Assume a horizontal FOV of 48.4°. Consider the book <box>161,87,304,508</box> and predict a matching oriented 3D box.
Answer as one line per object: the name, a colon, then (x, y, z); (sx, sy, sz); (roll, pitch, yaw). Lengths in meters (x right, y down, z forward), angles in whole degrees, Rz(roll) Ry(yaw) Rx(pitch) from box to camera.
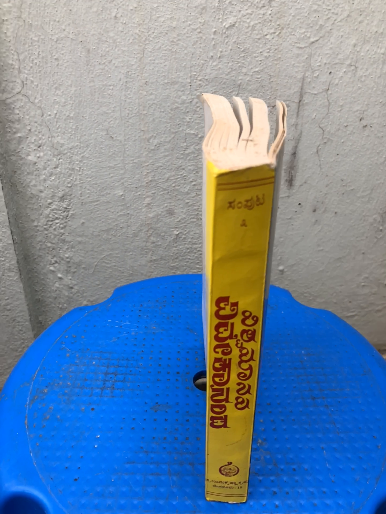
book: (0.023, 0.009, 0.281); (0.050, 0.199, 0.191); (1, 30, 5)
